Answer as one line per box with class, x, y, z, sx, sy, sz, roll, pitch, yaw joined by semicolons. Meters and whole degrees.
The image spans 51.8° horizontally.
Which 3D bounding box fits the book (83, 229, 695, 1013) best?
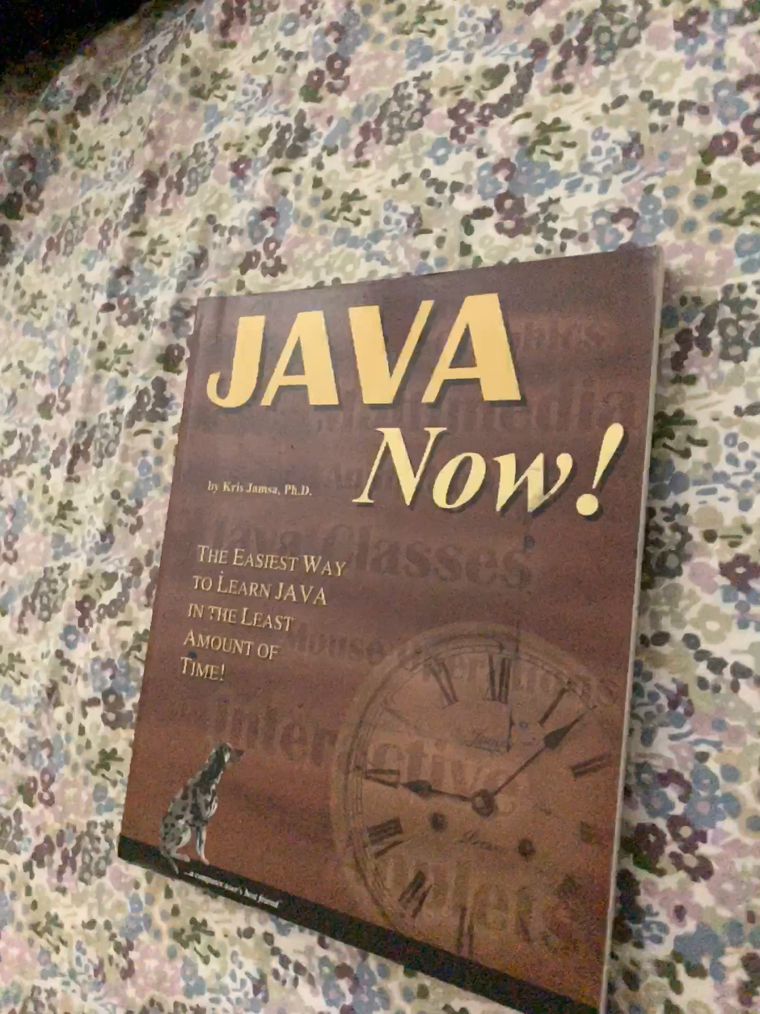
book;-0.008;0.038;0.300;0.221;0.030;0.260;3;84;29
